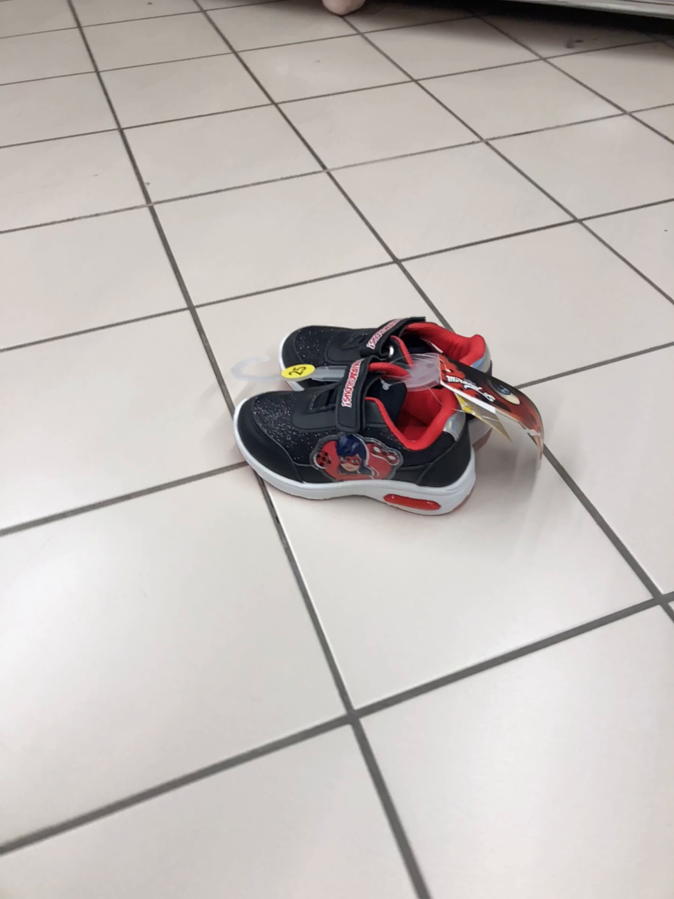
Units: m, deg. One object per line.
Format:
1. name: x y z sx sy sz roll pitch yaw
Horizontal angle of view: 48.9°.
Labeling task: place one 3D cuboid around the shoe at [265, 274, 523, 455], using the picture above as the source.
1. shoe: 0.041 -0.065 0.545 0.166 0.069 0.076 13 48 14

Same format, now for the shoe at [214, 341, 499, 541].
1. shoe: 0.015 -0.008 0.498 0.167 0.071 0.077 11 48 12
